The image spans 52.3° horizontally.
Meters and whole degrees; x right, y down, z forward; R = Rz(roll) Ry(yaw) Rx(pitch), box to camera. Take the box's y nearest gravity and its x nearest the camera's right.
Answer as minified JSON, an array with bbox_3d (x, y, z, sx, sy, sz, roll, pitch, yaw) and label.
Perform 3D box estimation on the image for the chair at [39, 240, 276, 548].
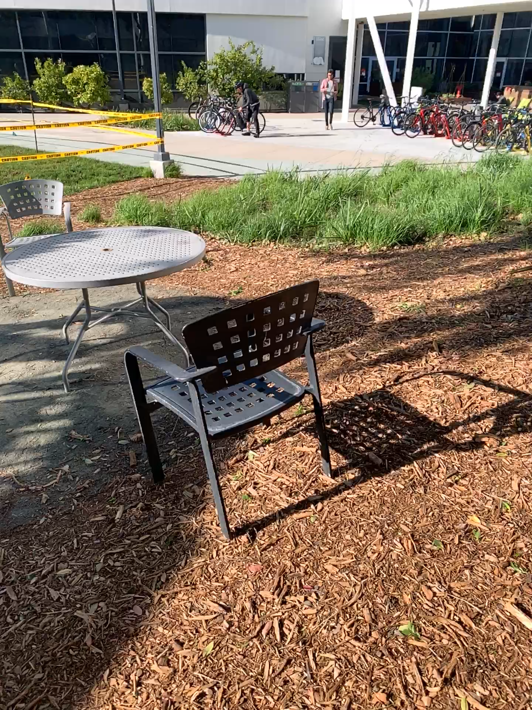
[{"bbox_3d":[-0.332,0.085,1.746,0.520,0.716,0.503,-17,33,-30],"label":"chair"}]
